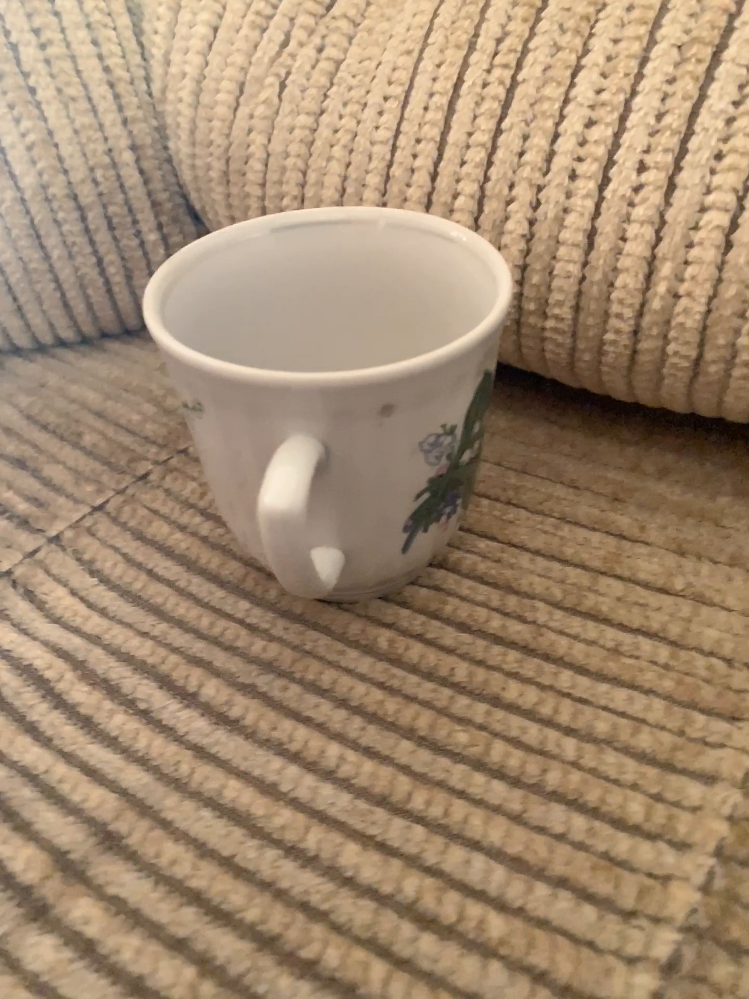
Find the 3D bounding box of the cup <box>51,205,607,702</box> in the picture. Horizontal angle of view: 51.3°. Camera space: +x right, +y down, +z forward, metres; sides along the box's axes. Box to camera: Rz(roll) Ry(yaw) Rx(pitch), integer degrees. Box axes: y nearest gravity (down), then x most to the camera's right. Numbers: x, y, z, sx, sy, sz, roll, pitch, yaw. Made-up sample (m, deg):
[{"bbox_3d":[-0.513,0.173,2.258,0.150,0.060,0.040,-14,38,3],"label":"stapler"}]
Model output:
[{"bbox_3d":[-0.011,-0.021,0.202,0.095,0.077,0.113,-2,35,-3],"label":"cup"}]
